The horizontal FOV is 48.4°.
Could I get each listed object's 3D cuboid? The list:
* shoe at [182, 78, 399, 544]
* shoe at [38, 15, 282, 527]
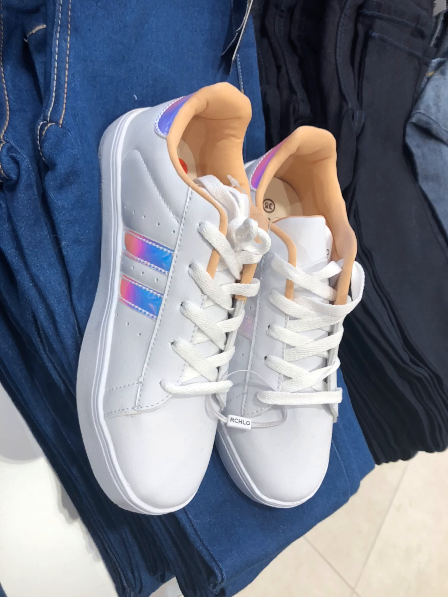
[{"bbox_3d":[0.033,0.008,0.340,0.090,0.109,0.260,5,76,-24],"label":"shoe"},{"bbox_3d":[-0.041,-0.013,0.313,0.091,0.109,0.260,11,72,-42],"label":"shoe"}]
